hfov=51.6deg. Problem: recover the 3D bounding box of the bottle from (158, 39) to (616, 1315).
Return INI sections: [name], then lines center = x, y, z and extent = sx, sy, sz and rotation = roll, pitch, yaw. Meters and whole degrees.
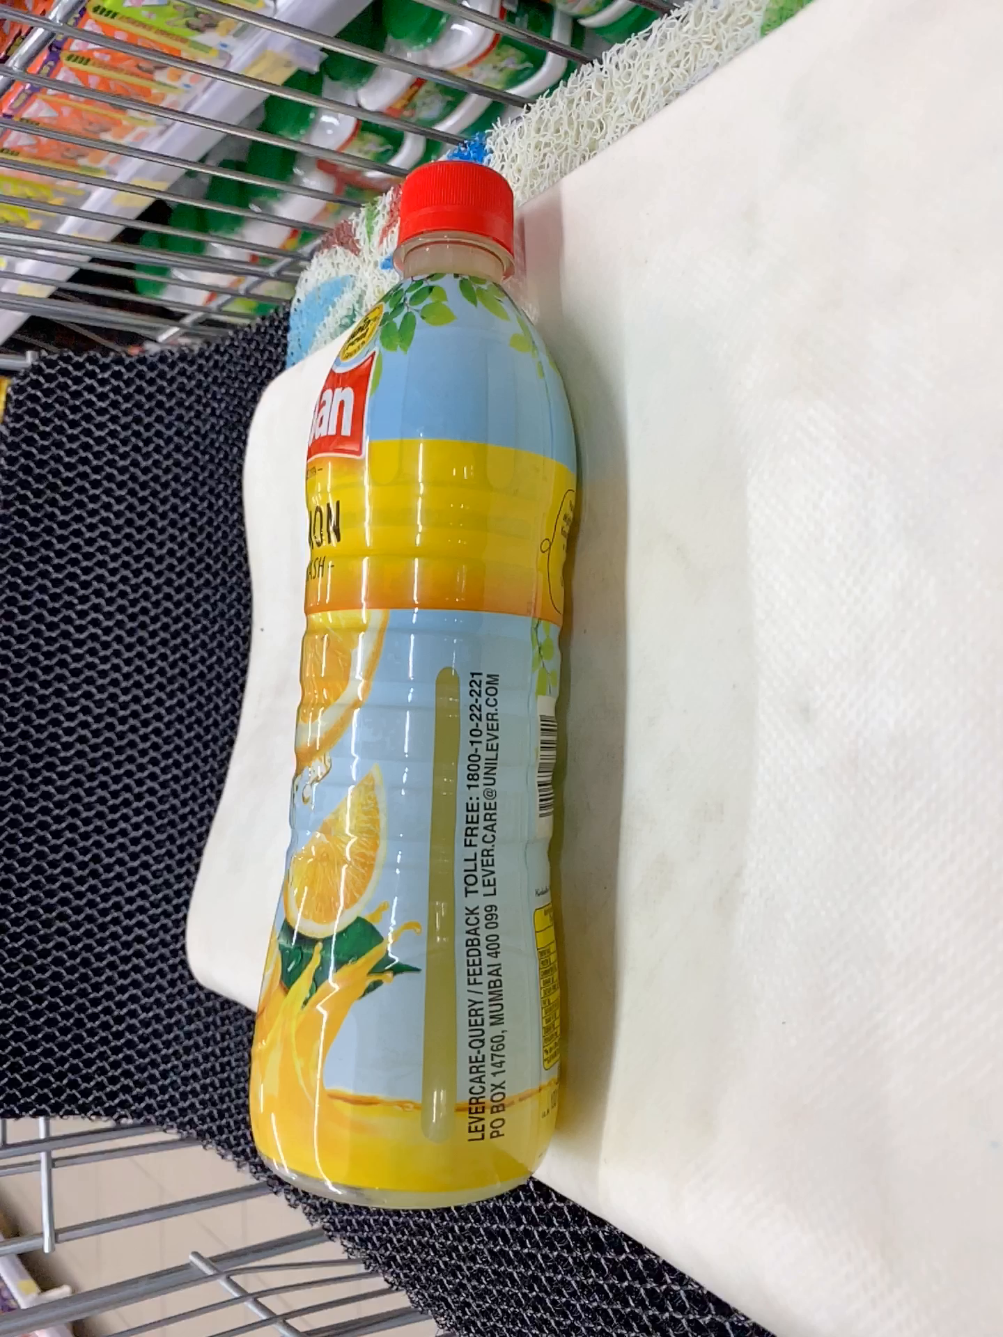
[bottle]
center = -0.028, 0.001, 0.240
extent = 0.081, 0.070, 0.230
rotation = -2, 87, 50
